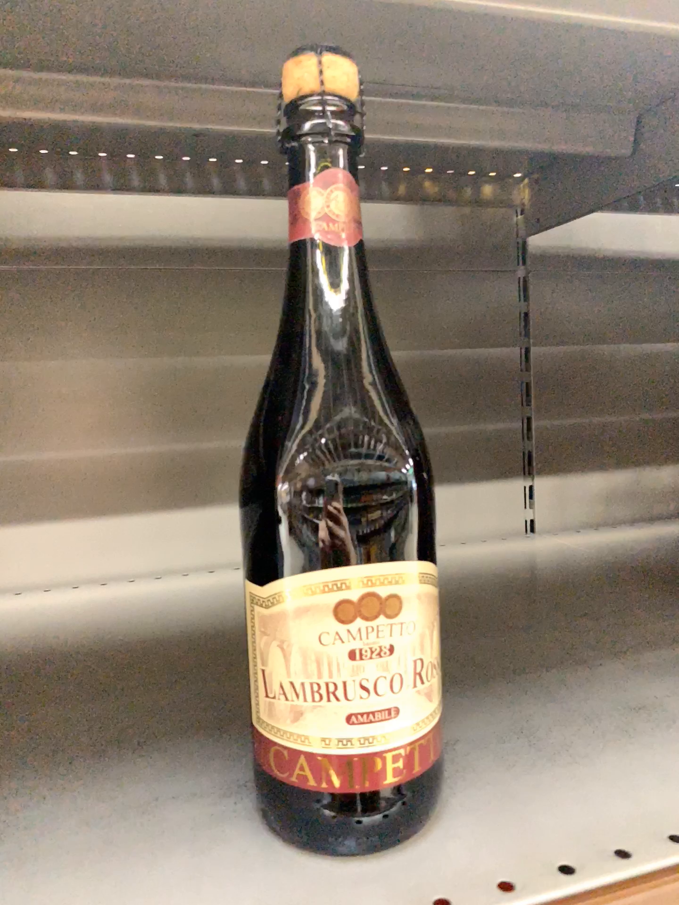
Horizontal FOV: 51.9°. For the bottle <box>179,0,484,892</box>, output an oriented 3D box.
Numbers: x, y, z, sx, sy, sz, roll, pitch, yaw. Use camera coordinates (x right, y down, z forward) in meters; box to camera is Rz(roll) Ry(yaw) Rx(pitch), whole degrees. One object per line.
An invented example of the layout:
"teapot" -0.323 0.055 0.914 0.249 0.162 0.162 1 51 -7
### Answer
"bottle" -0.006 -0.004 0.281 0.090 0.300 0.080 -4 5 -18
